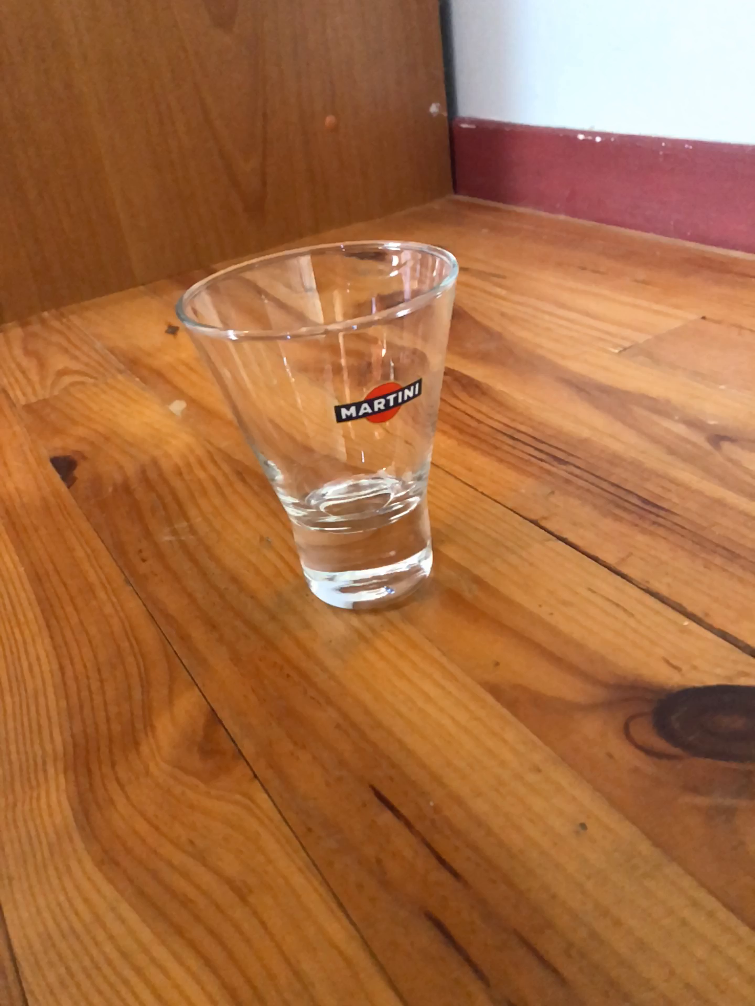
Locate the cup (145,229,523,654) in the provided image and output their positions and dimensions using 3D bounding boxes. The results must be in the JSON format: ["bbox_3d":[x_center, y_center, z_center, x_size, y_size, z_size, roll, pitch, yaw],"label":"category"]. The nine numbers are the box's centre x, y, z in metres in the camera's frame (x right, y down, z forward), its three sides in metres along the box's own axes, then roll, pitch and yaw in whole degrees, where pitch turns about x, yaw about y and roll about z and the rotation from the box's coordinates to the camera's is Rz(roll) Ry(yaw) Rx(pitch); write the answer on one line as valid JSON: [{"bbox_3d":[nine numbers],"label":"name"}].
[{"bbox_3d":[-0.014,-0.027,0.286,0.091,0.097,0.088,-6,32,4],"label":"cup"}]
